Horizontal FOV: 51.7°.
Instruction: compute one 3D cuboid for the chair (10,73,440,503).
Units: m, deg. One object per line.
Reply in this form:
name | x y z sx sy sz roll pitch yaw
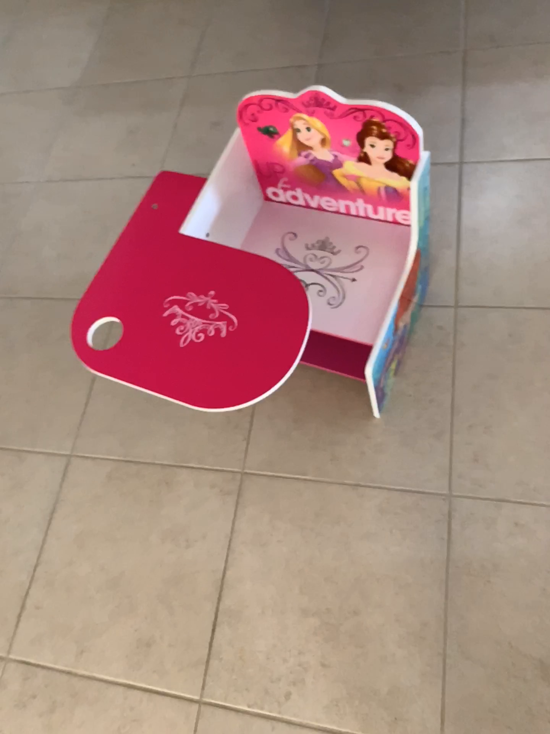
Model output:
chair | -0.014 -0.138 1.143 0.532 0.568 0.551 14 68 20
